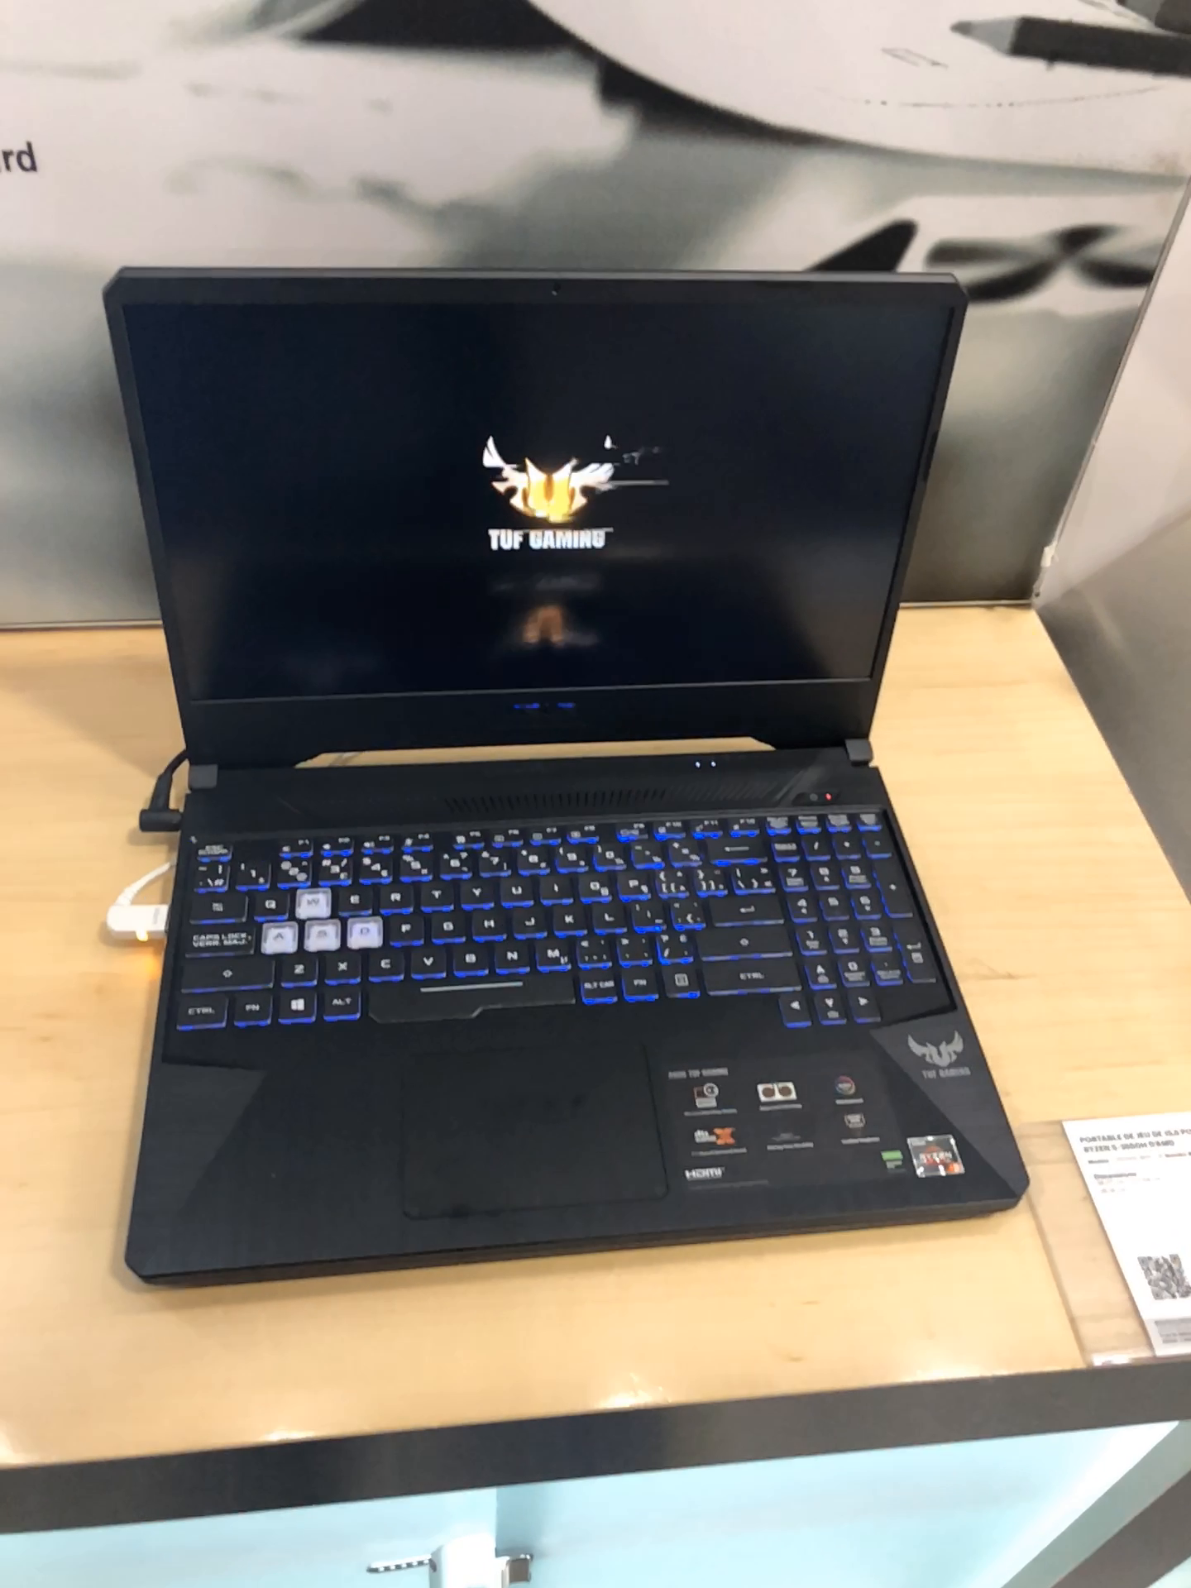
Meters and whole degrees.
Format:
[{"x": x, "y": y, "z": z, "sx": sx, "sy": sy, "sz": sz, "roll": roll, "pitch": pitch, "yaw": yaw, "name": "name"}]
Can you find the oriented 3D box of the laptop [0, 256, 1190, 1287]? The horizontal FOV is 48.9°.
[{"x": -0.011, "y": -0.023, "z": 0.527, "sx": 0.358, "sy": 0.245, "sz": 0.310, "roll": -3, "pitch": 47, "yaw": -8, "name": "laptop"}]
